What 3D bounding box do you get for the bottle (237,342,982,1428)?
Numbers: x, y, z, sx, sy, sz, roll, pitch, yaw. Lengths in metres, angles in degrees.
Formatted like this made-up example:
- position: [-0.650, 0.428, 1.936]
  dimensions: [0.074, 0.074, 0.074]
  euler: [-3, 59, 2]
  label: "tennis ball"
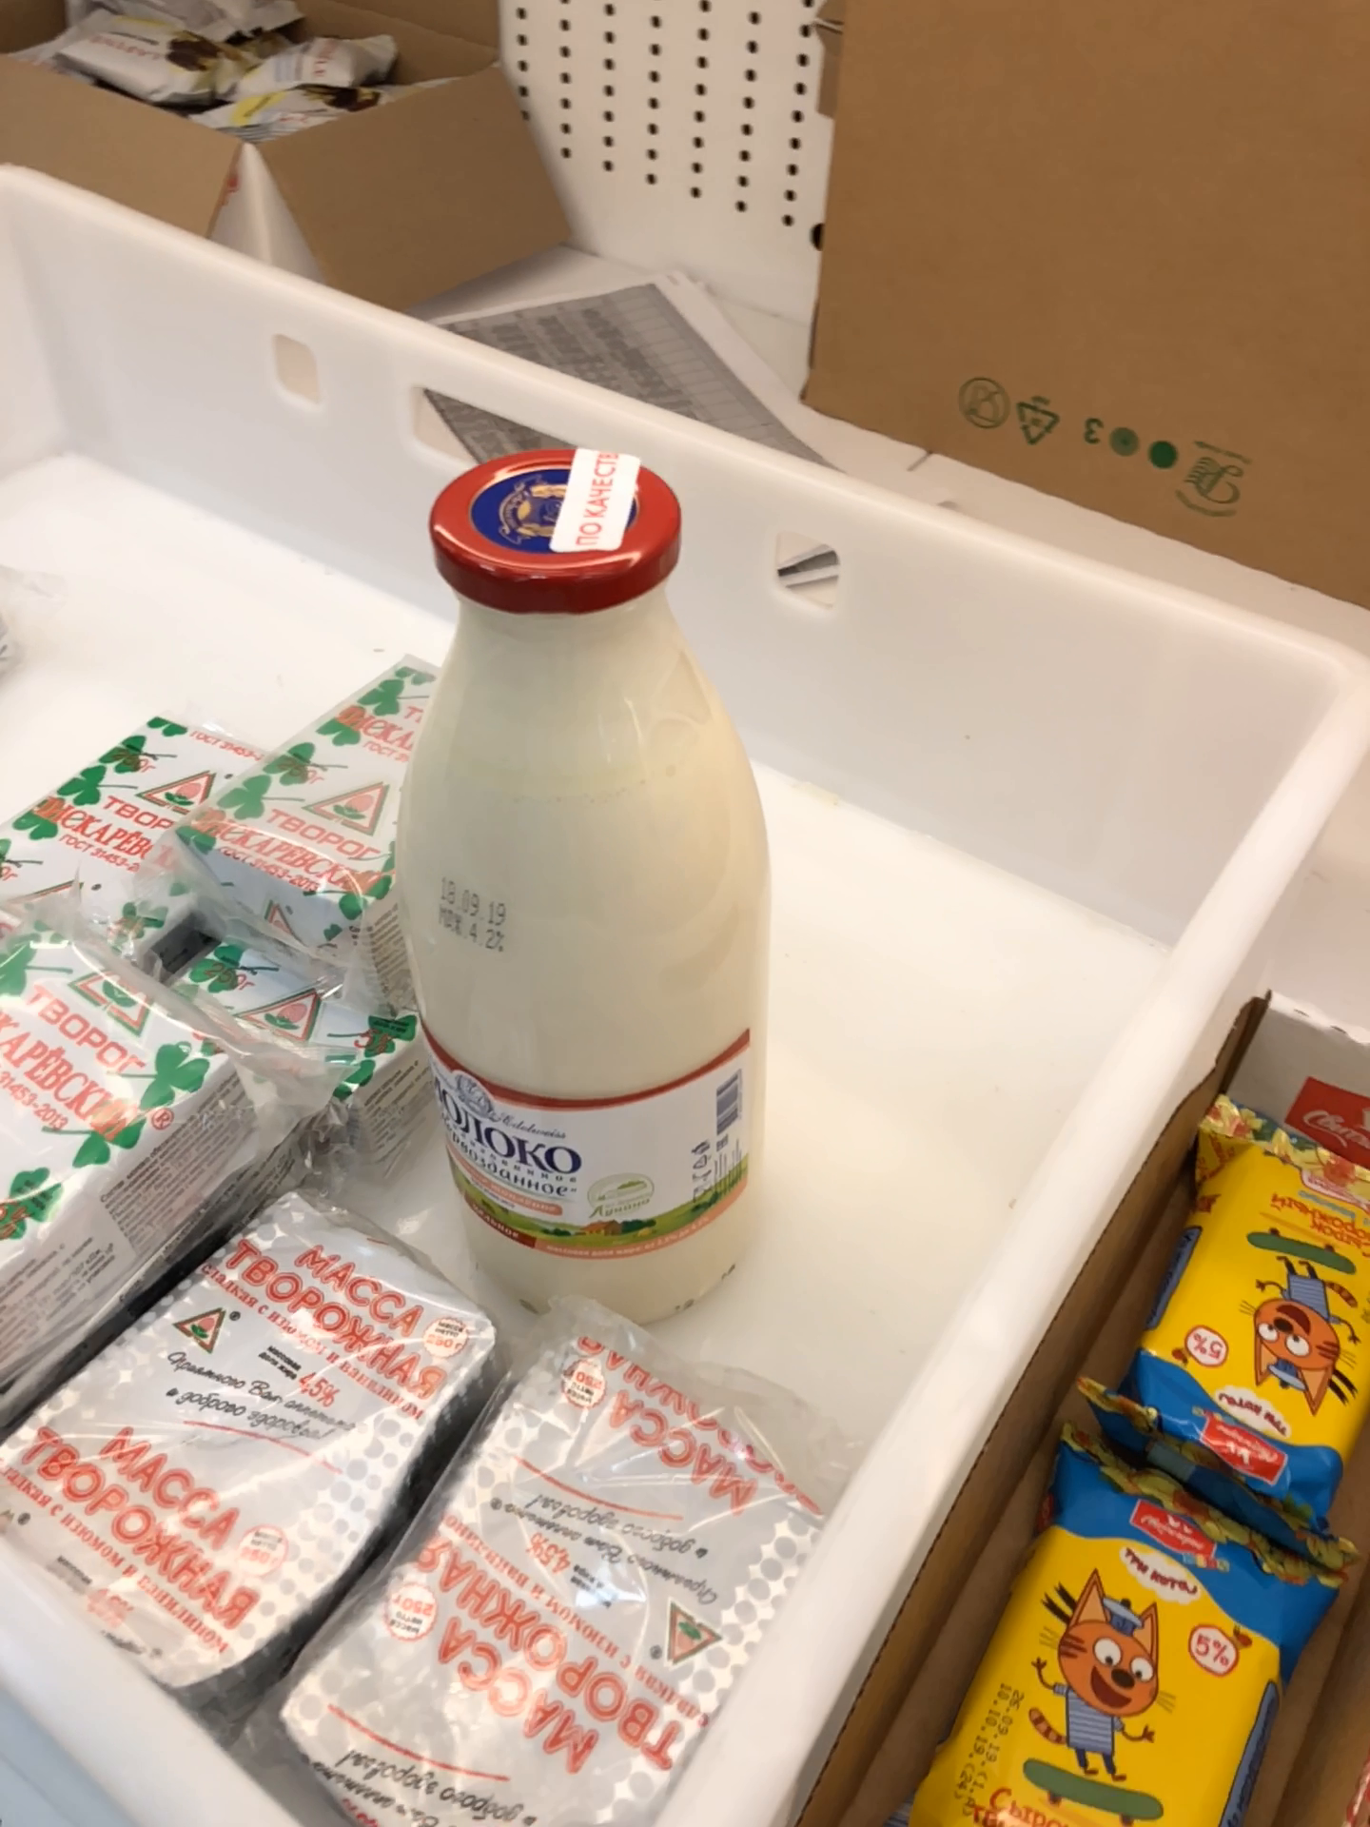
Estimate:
- position: [-0.015, 0.004, 0.331]
  dimensions: [0.090, 0.209, 0.090]
  euler: [2, 45, -2]
  label: "bottle"
